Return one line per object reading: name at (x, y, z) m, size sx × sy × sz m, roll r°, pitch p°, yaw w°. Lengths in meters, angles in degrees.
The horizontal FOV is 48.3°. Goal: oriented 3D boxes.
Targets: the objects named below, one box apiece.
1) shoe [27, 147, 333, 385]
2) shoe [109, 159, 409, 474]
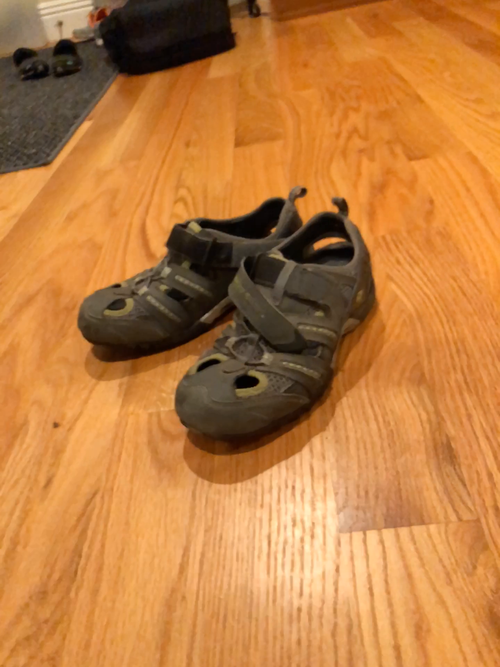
shoe at (-0.059, -0.071, 0.520) m, size 0.245 × 0.112 × 0.101 m, roll -23°, pitch 37°, yaw -14°
shoe at (0.028, -0.033, 0.439) m, size 0.100 × 0.112 × 0.246 m, roll 16°, pitch 45°, yaw 33°
